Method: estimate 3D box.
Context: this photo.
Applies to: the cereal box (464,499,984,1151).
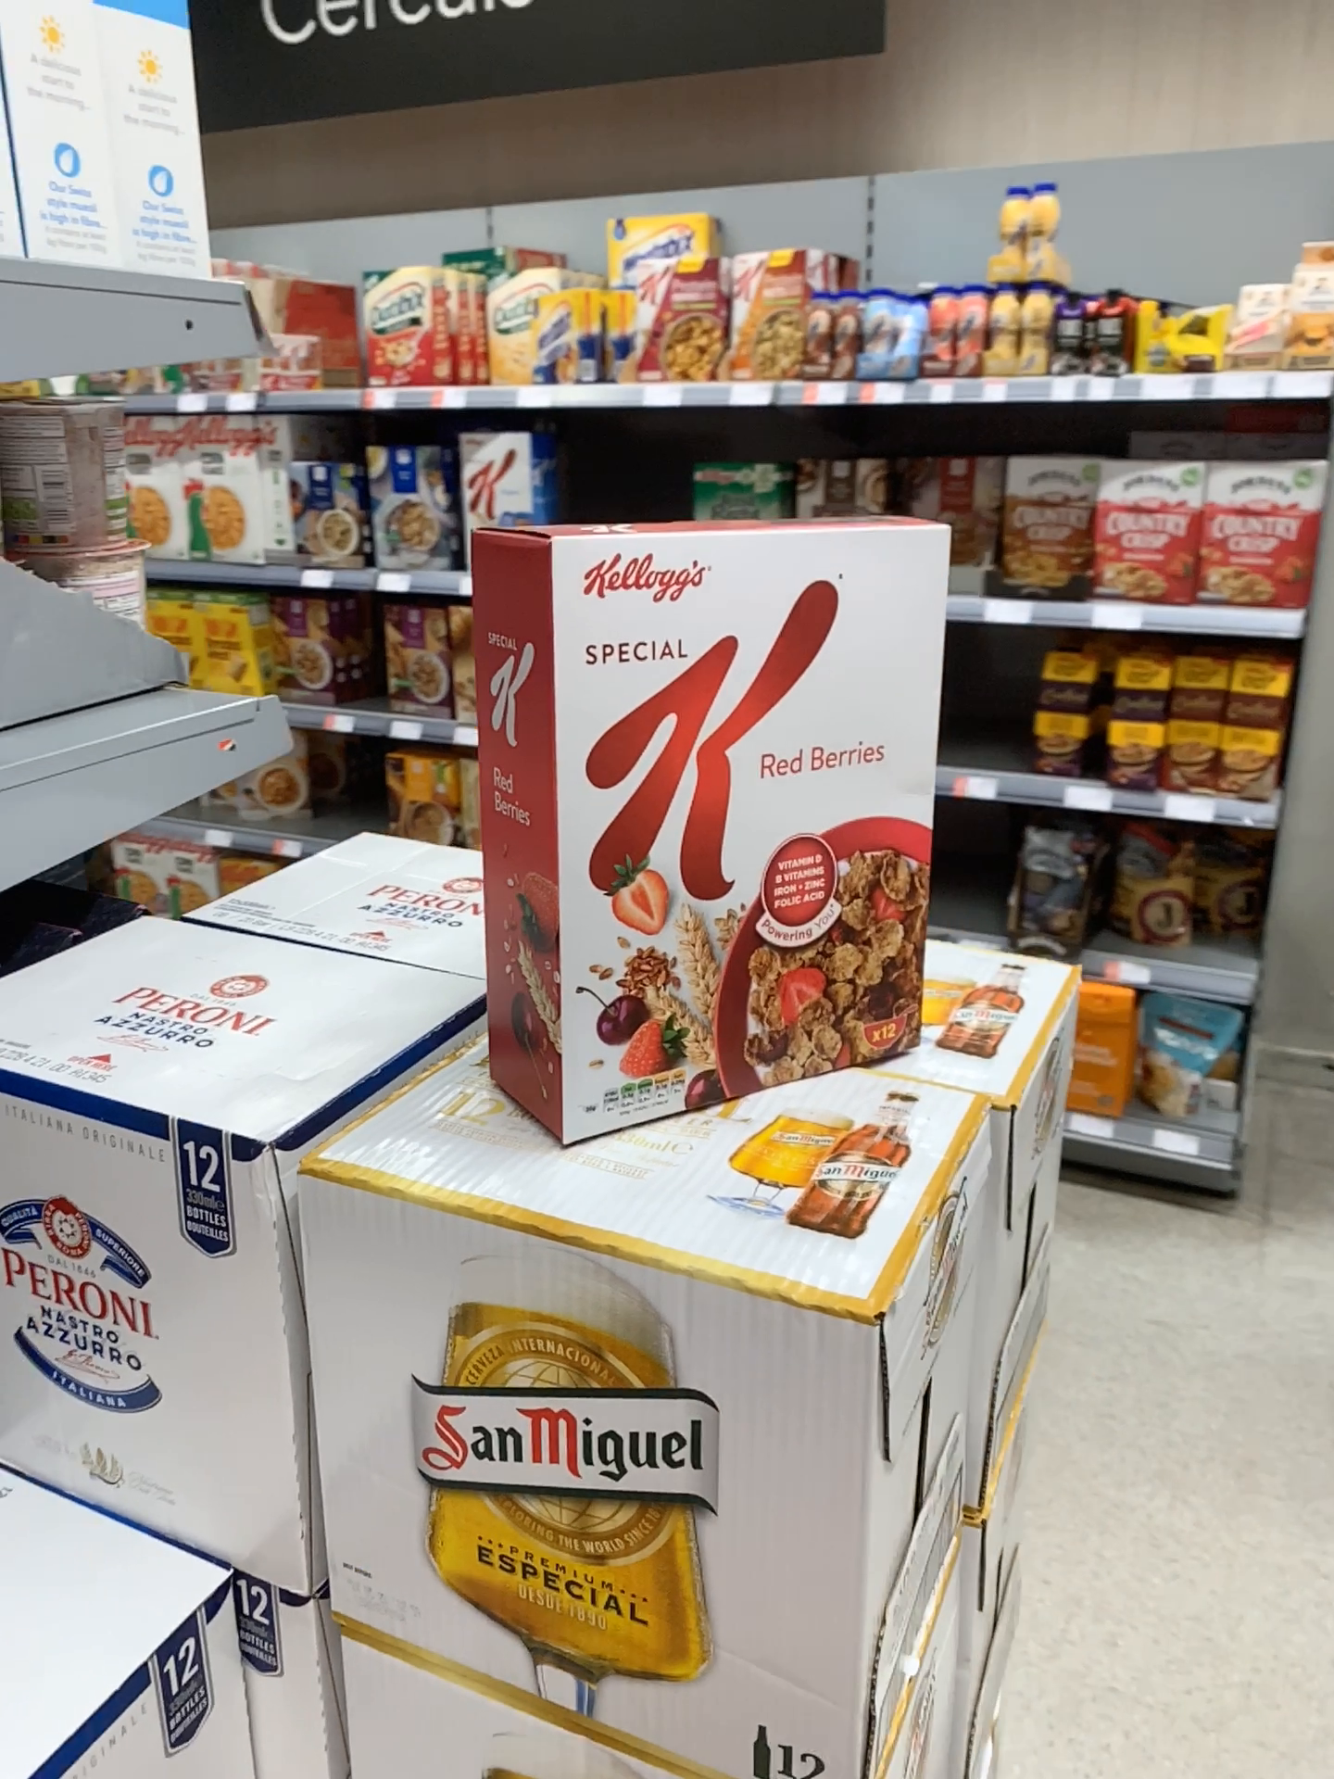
[{"bbox_3d":[0.028,-0.037,0.580,0.200,0.238,0.070,-10,18,-28],"label":"cereal box"}]
